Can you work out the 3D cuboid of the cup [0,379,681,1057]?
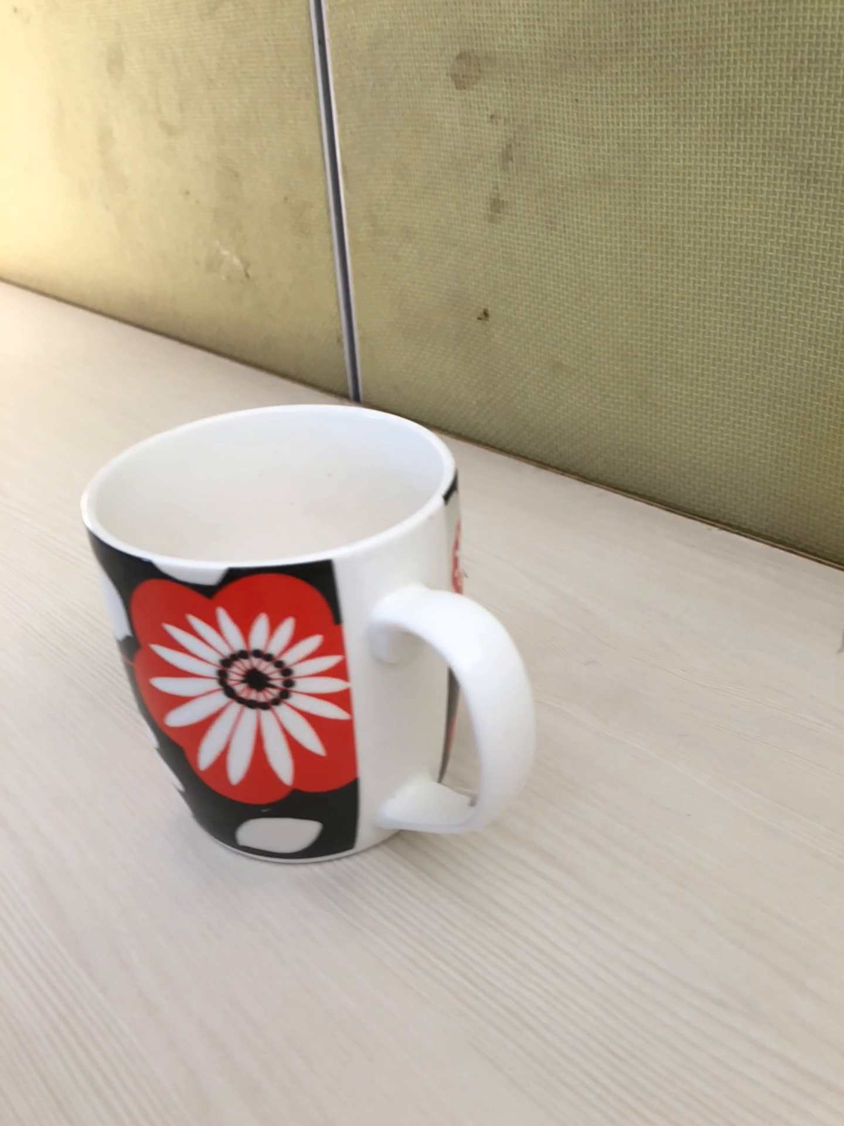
[{"bbox_3d":[-0.018,0.022,0.225,0.120,0.089,0.091,19,36,34],"label":"cup"}]
